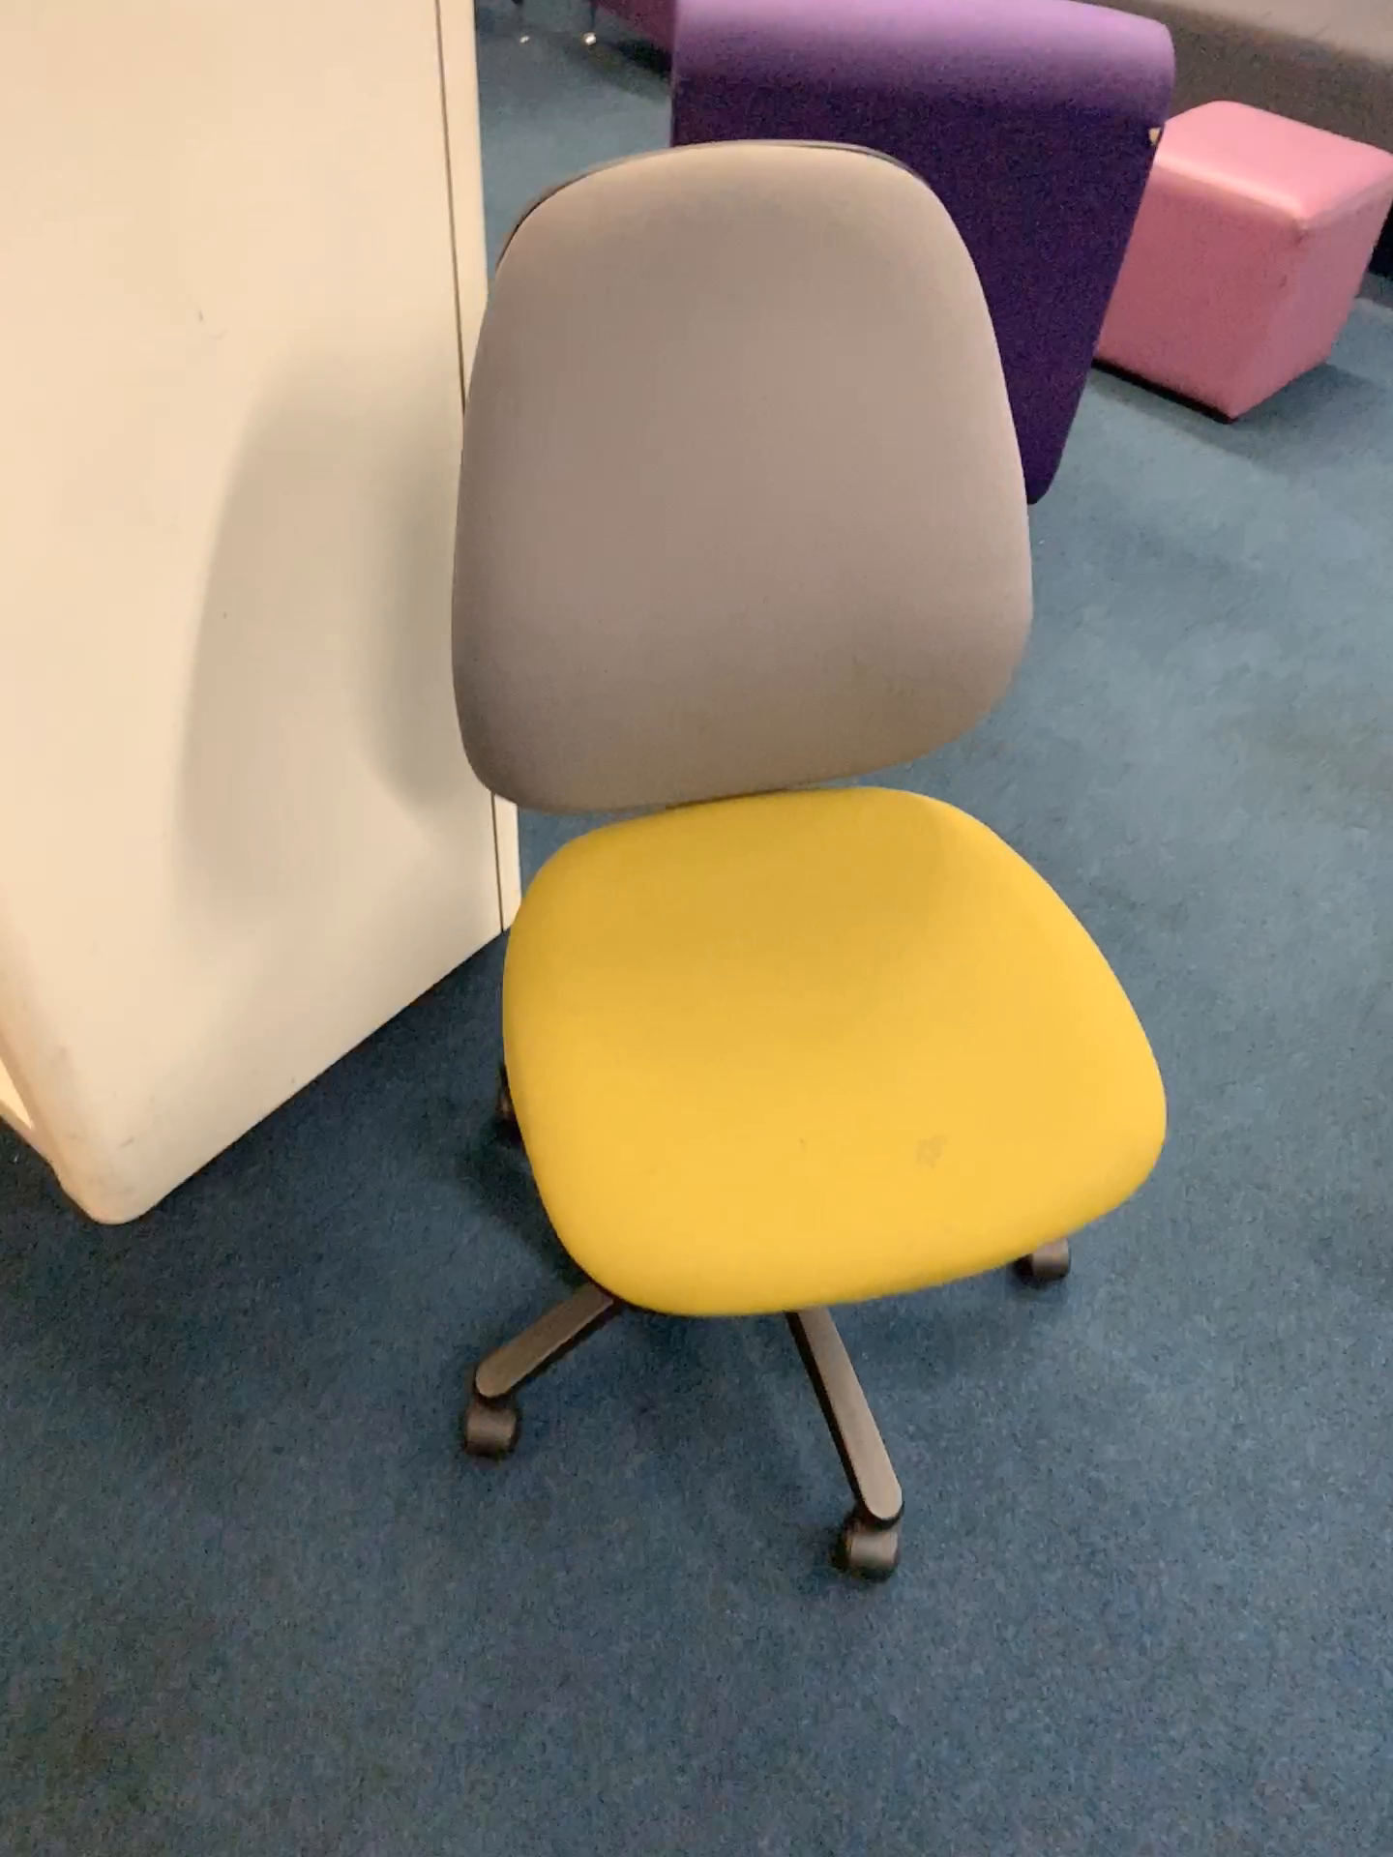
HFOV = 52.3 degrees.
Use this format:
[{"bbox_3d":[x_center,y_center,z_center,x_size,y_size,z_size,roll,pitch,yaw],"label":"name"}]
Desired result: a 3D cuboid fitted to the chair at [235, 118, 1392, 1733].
[{"bbox_3d":[0.094,0.024,1.068,0.641,0.922,0.665,-11,49,-14],"label":"chair"}]
